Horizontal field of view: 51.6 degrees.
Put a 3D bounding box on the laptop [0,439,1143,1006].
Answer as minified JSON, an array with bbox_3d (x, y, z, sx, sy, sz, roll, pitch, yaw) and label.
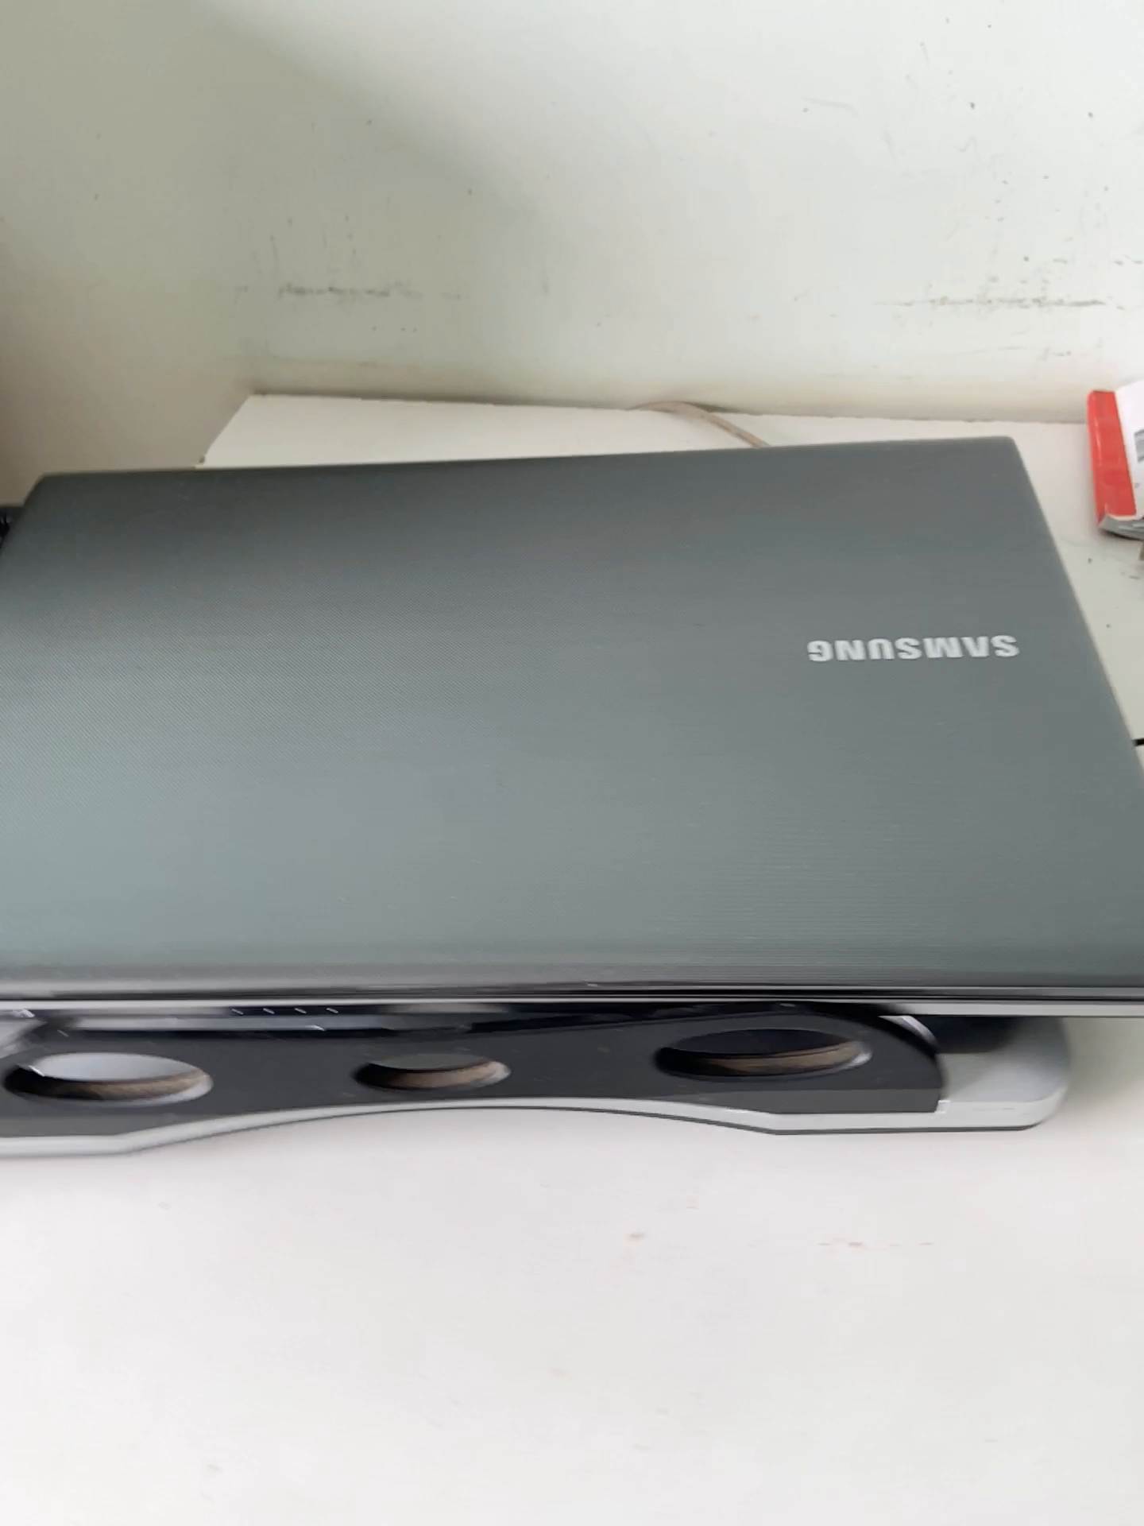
[{"bbox_3d":[-0.029,-0.029,0.374,0.373,0.005,0.237,-1,46,5],"label":"laptop"}]
